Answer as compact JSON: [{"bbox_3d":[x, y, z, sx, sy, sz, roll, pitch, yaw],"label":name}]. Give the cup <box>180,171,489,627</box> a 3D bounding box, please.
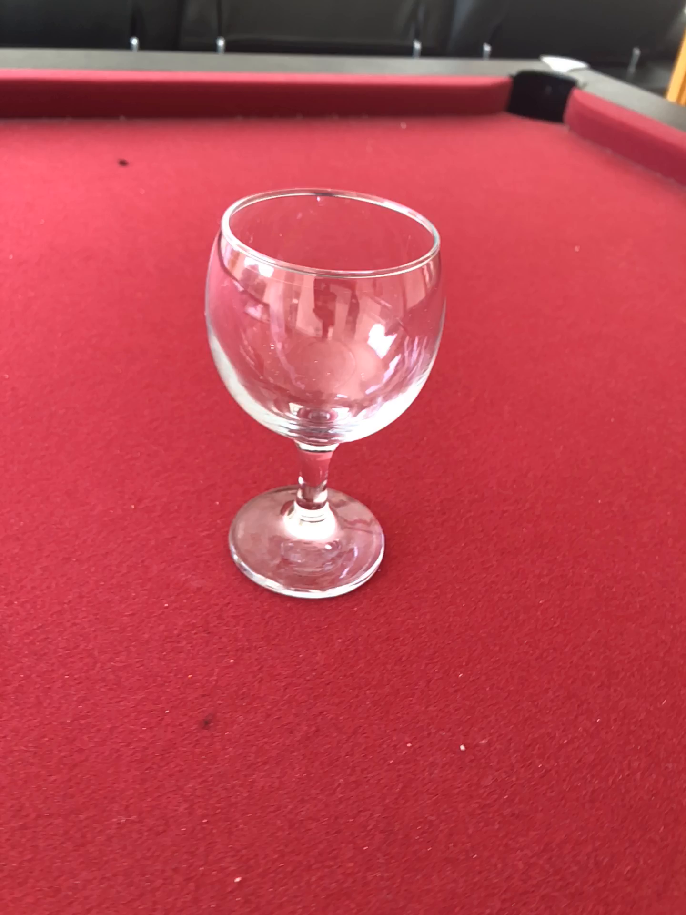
[{"bbox_3d":[-0.006,-0.021,0.274,0.070,0.129,0.070,4,37,-3],"label":"cup"}]
